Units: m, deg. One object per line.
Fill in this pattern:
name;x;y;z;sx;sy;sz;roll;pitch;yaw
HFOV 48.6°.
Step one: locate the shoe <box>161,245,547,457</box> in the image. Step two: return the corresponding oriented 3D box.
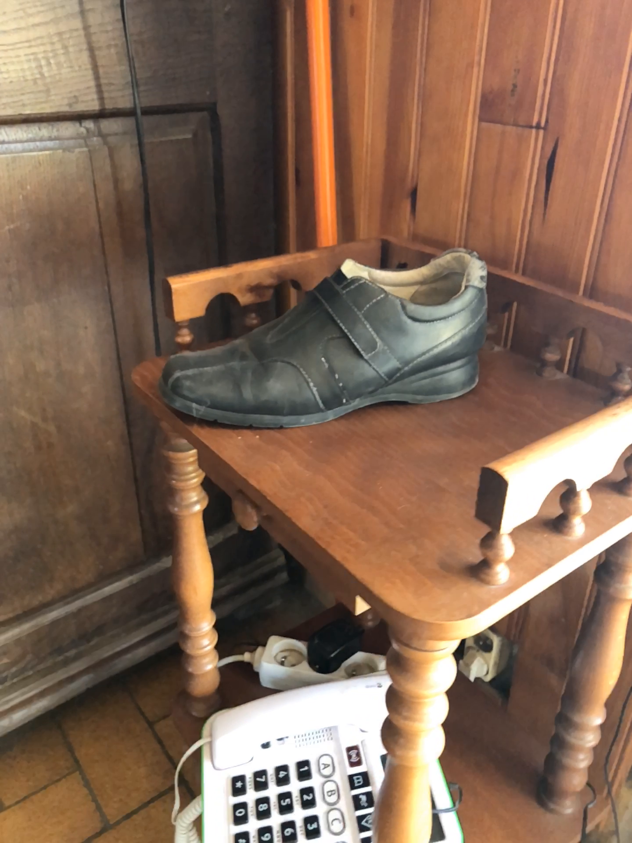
shoe;0.022;-0.058;0.511;0.250;0.099;0.100;-7;30;-13
